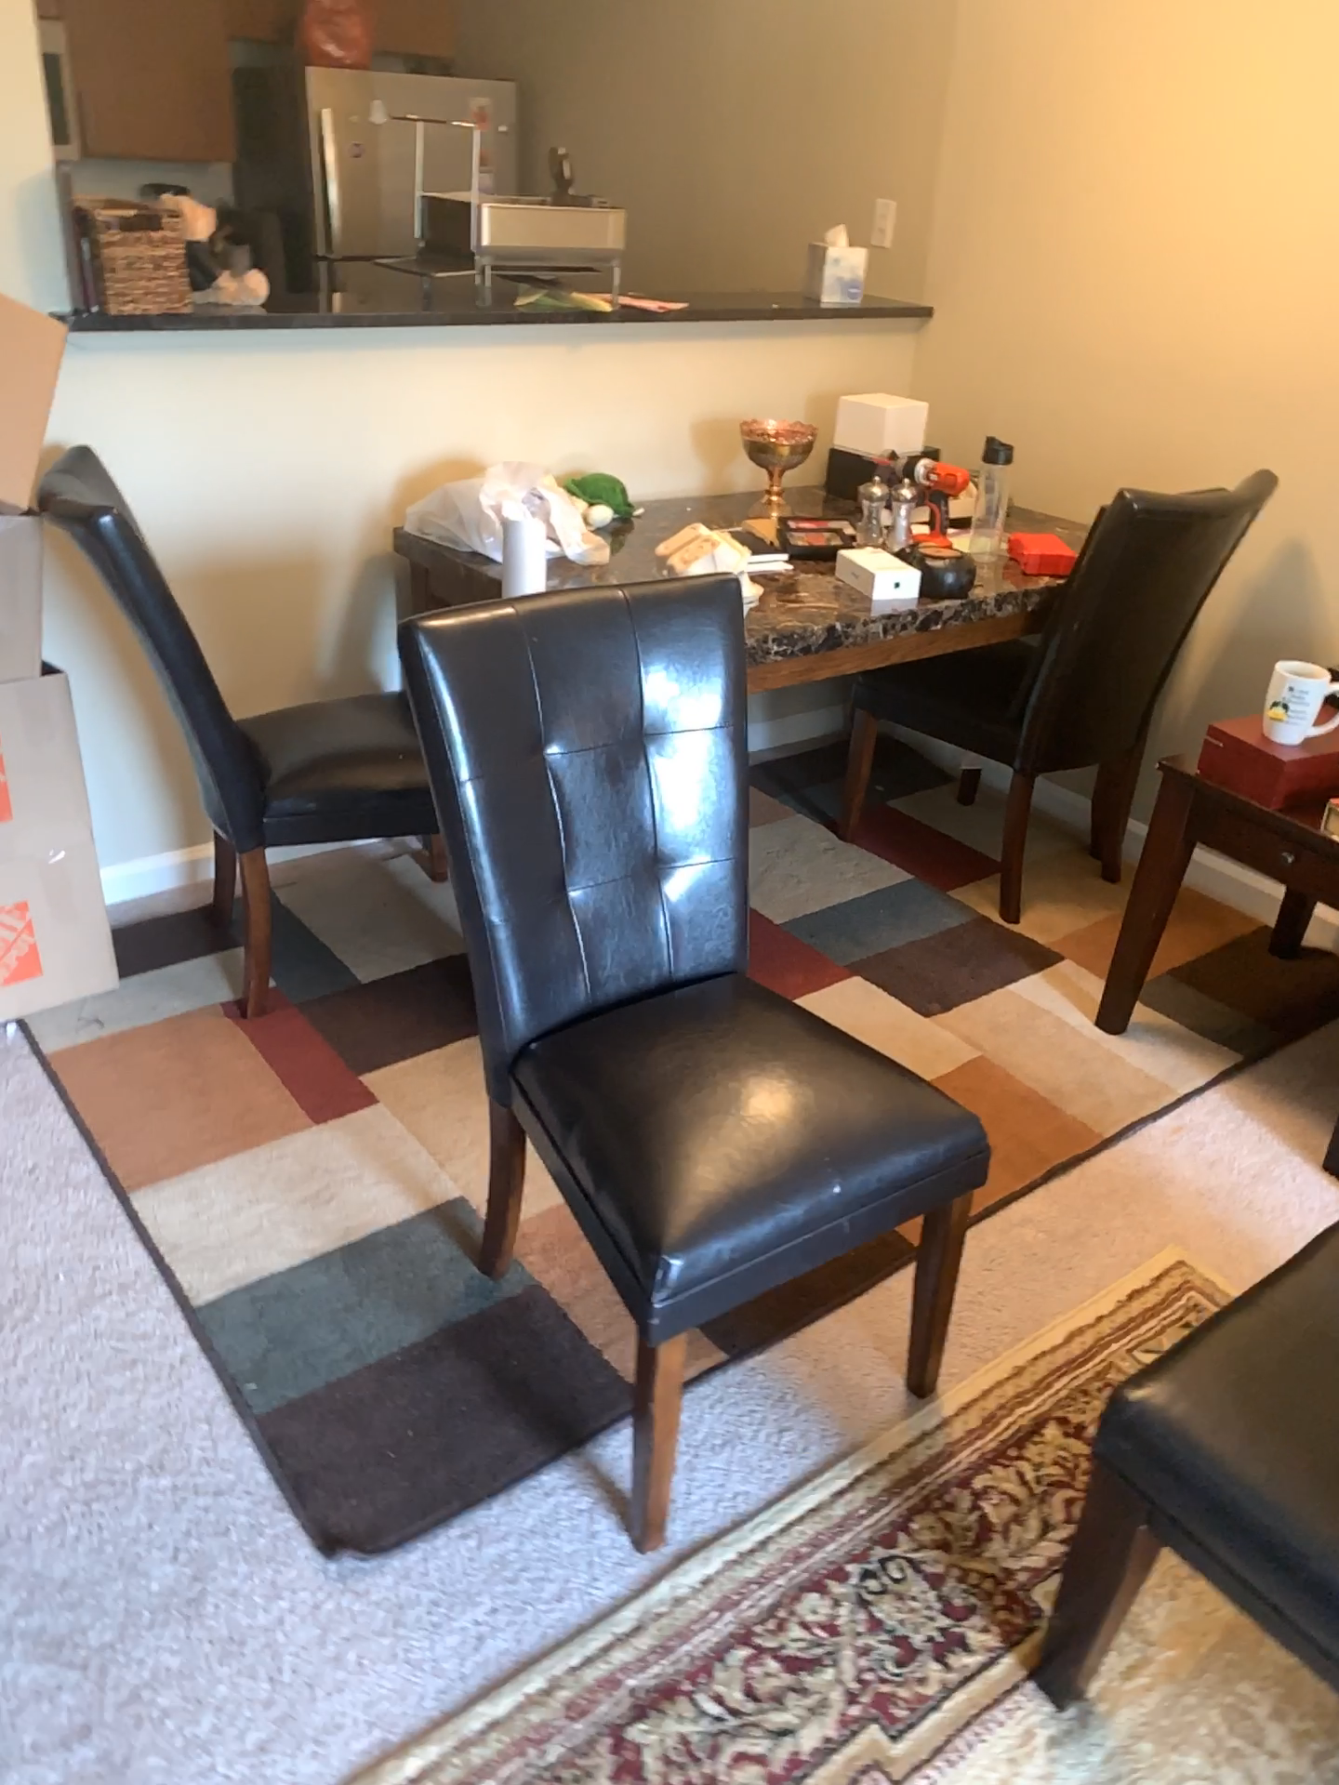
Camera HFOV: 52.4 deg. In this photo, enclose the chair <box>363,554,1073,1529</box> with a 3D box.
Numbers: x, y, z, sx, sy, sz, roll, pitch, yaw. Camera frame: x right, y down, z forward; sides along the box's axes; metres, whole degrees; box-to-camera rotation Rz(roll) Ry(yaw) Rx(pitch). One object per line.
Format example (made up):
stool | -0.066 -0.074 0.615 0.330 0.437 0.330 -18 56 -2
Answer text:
chair | 0.001 0.133 1.711 0.490 0.915 0.653 -16 33 -32
